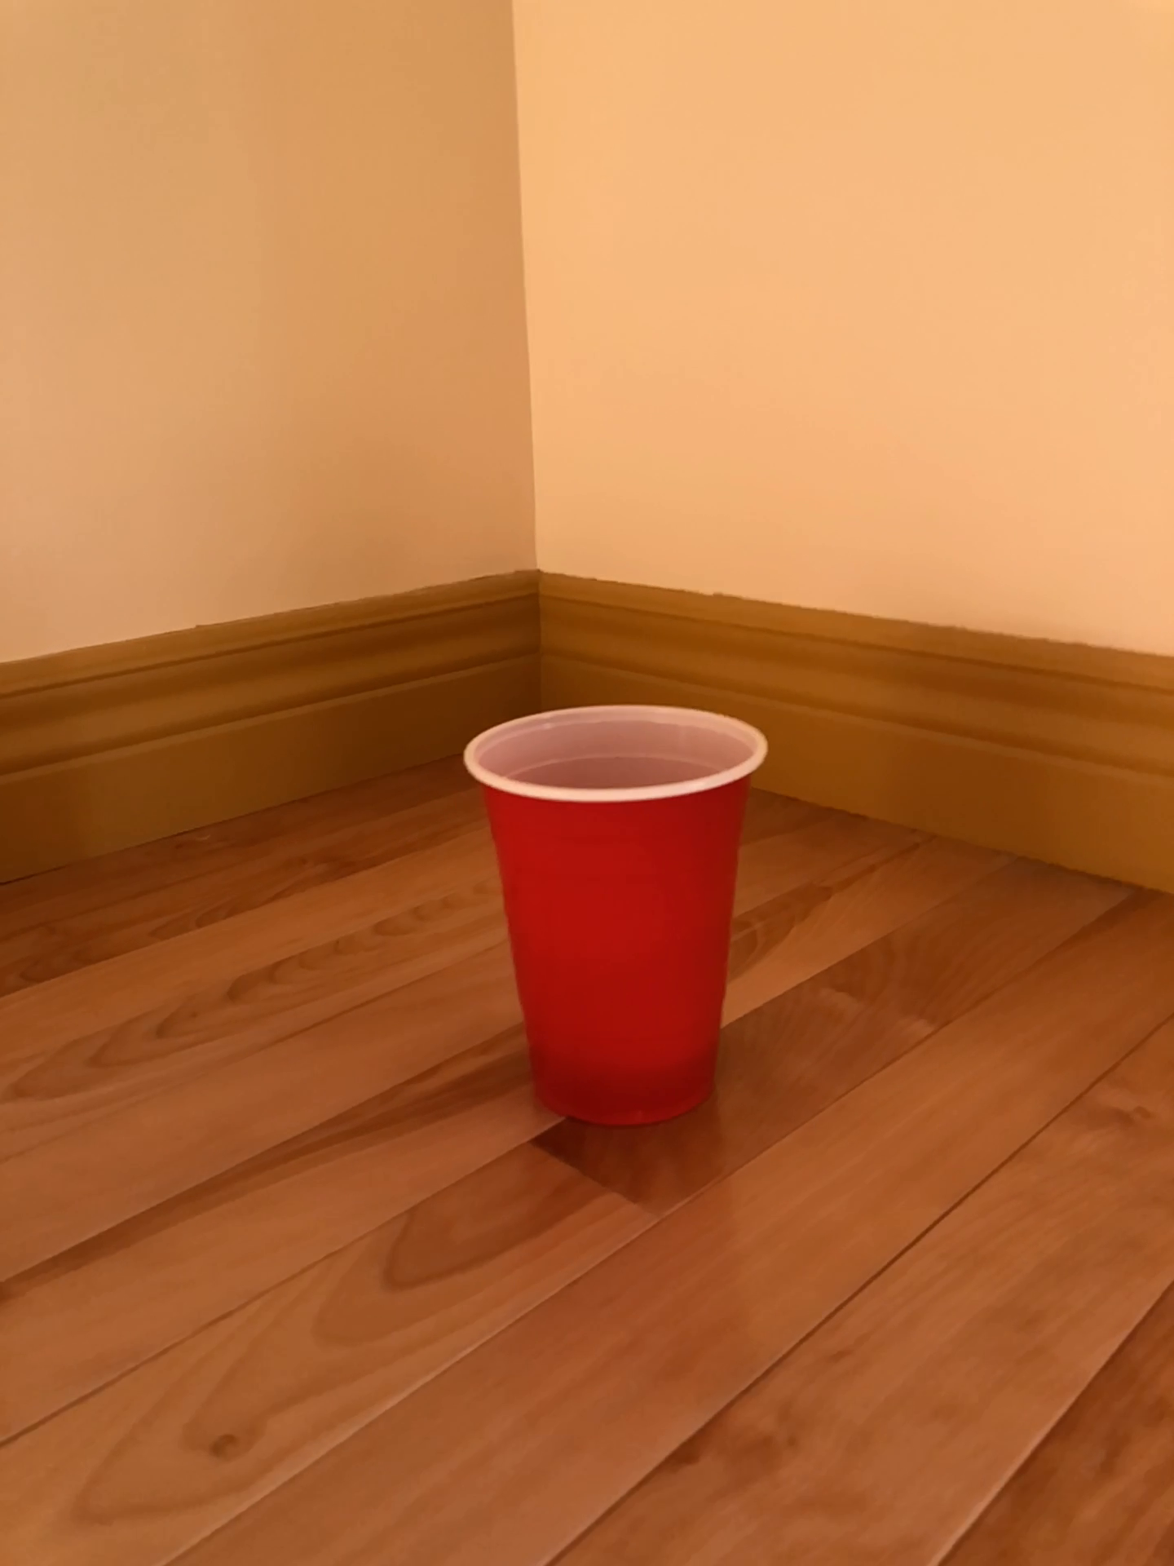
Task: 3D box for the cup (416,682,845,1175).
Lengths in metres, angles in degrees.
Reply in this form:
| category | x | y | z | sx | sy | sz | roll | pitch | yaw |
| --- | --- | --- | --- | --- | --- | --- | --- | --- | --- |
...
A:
| category | x | y | z | sx | sy | sz | roll | pitch | yaw |
| --- | --- | --- | --- | --- | --- | --- | --- | --- | --- |
| cup | 0.011 | 0.038 | 0.411 | 0.100 | 0.110 | 0.100 | -3 | 17 | 1 |
